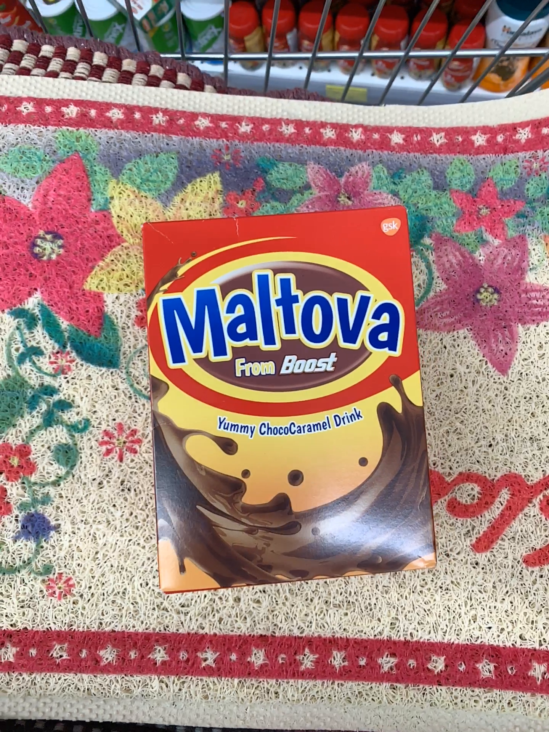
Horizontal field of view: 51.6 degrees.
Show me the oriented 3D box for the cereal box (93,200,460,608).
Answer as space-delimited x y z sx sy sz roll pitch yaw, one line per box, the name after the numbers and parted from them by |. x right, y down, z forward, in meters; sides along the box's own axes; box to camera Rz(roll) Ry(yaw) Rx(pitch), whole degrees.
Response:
-0.002 0.016 0.277 0.150 0.050 0.170 -5 84 0 | cereal box
